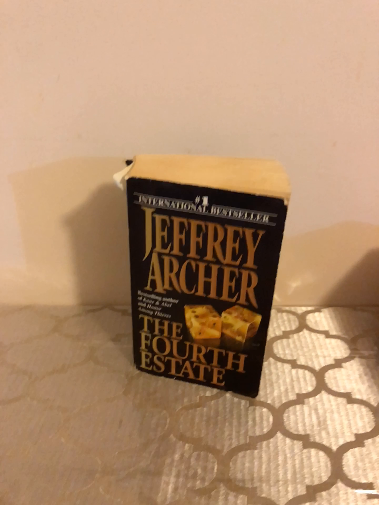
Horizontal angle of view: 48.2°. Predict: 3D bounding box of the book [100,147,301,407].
[{"bbox_3d":[0.008,0.018,0.316,0.120,0.169,0.060,9,29,14],"label":"book"}]
